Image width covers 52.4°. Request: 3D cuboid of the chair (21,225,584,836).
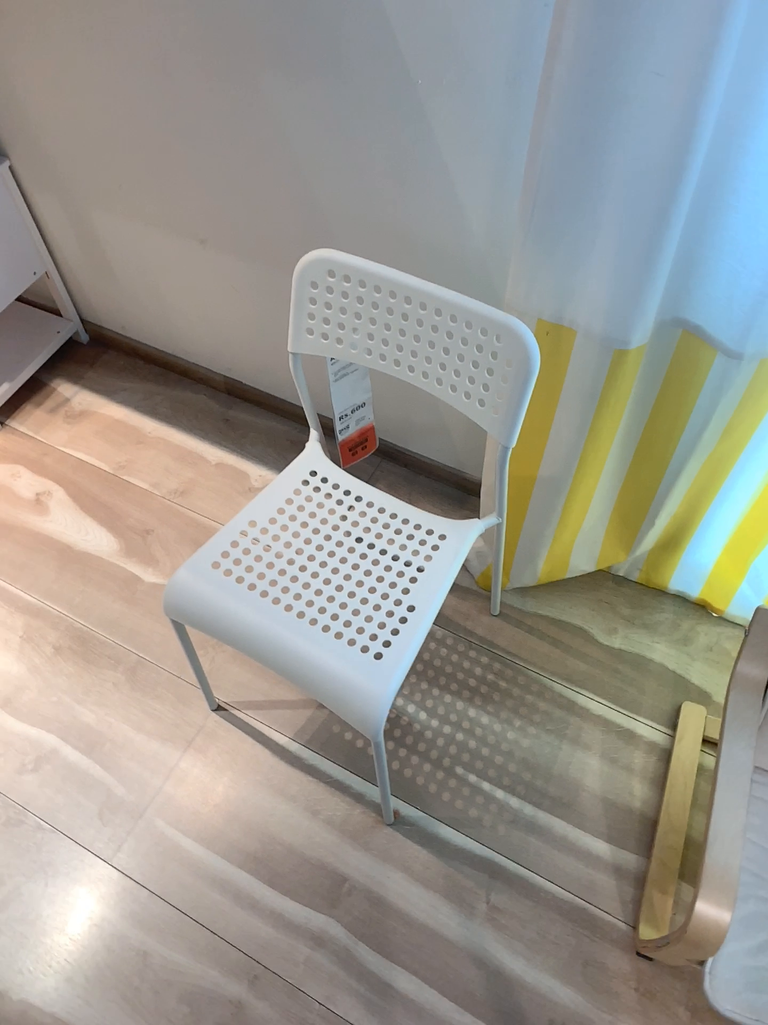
[{"bbox_3d":[-0.061,0.056,1.186,0.440,0.658,0.531,25,60,19],"label":"chair"}]
